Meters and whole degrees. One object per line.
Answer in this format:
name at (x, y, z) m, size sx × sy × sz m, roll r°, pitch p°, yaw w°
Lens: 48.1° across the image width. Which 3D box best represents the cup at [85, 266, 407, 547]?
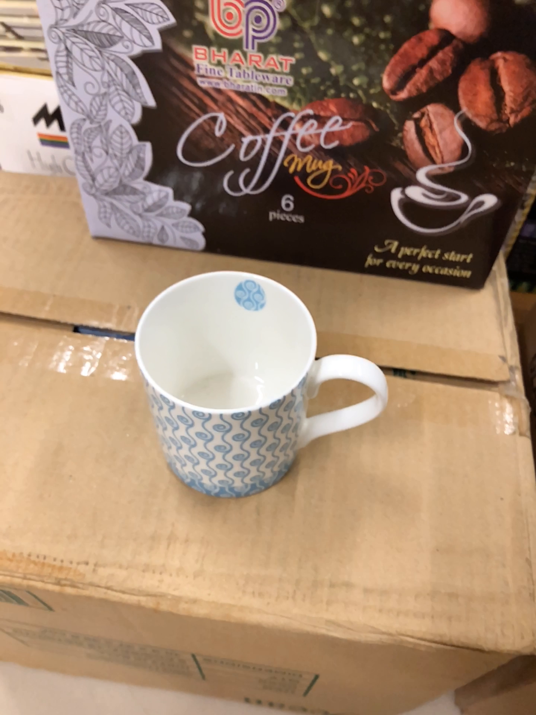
cup at (-0.005, 0.024, 0.262) m, size 0.110 × 0.090 × 0.070 m, roll 9°, pitch 55°, yaw 4°
